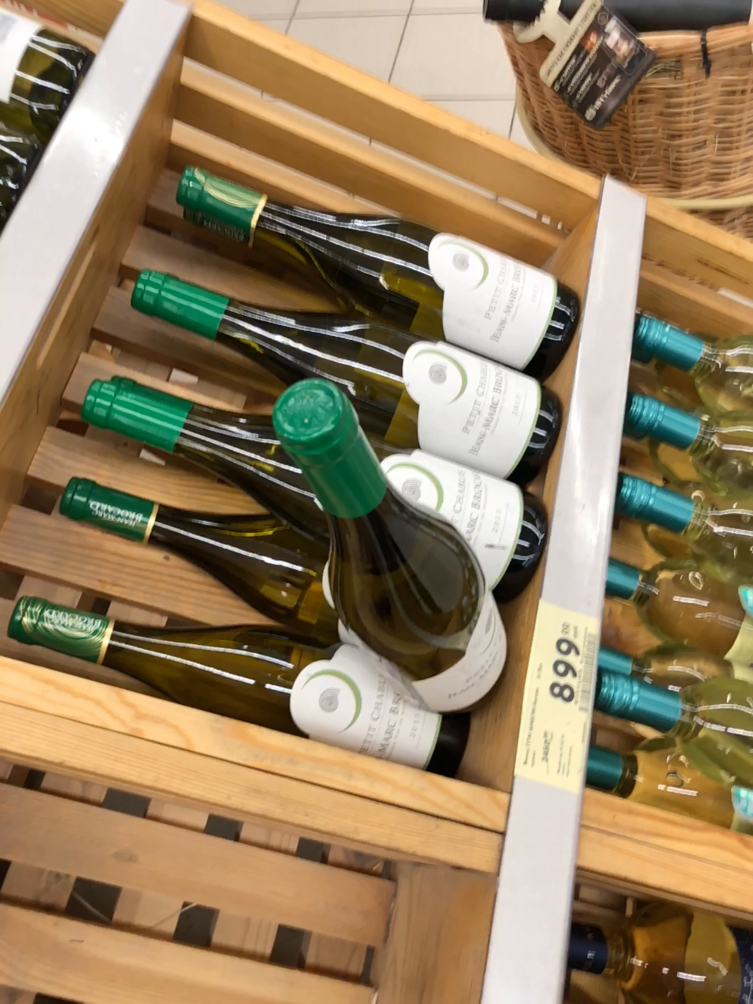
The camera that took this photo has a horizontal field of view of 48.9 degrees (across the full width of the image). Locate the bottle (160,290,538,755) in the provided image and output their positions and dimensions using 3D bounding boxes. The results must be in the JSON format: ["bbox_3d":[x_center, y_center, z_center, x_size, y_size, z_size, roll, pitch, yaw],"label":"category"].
[{"bbox_3d":[0.016,0.036,0.397,0.090,0.289,0.090,-6,61,11],"label":"bottle"}]
